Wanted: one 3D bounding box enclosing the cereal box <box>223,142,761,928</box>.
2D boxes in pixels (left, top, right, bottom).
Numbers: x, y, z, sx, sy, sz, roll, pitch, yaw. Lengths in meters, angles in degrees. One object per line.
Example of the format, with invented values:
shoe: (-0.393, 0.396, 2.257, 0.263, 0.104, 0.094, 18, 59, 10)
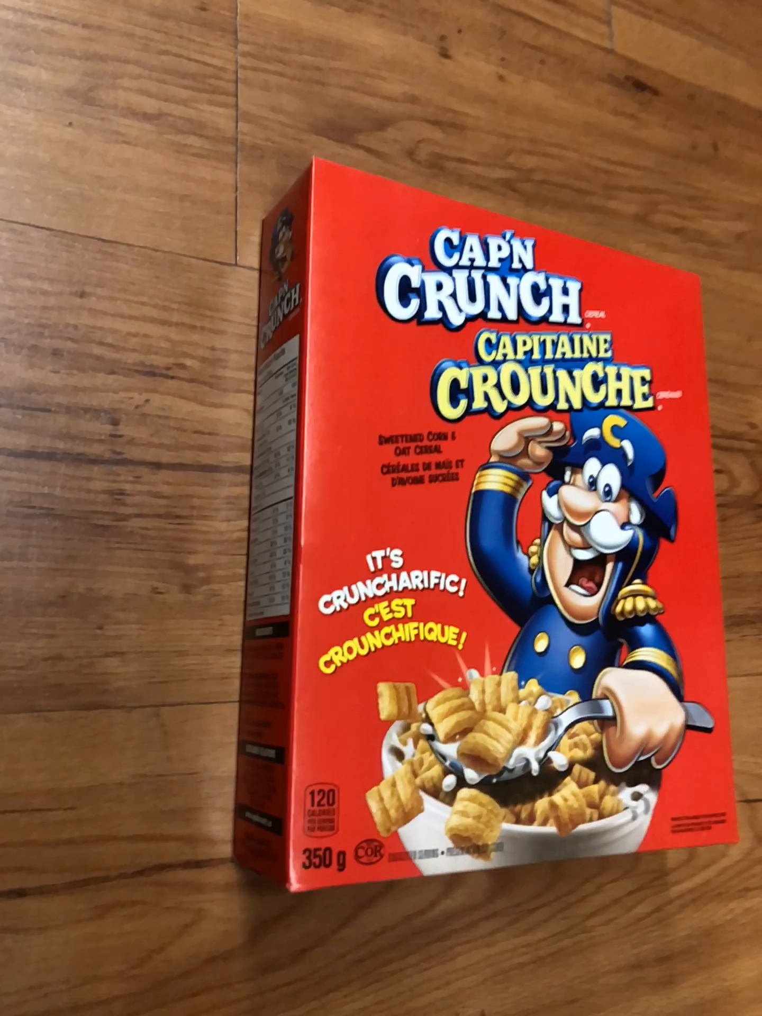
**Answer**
cereal box: (0.057, 0.013, 0.349, 0.221, 0.060, 0.260, 6, 77, -26)
